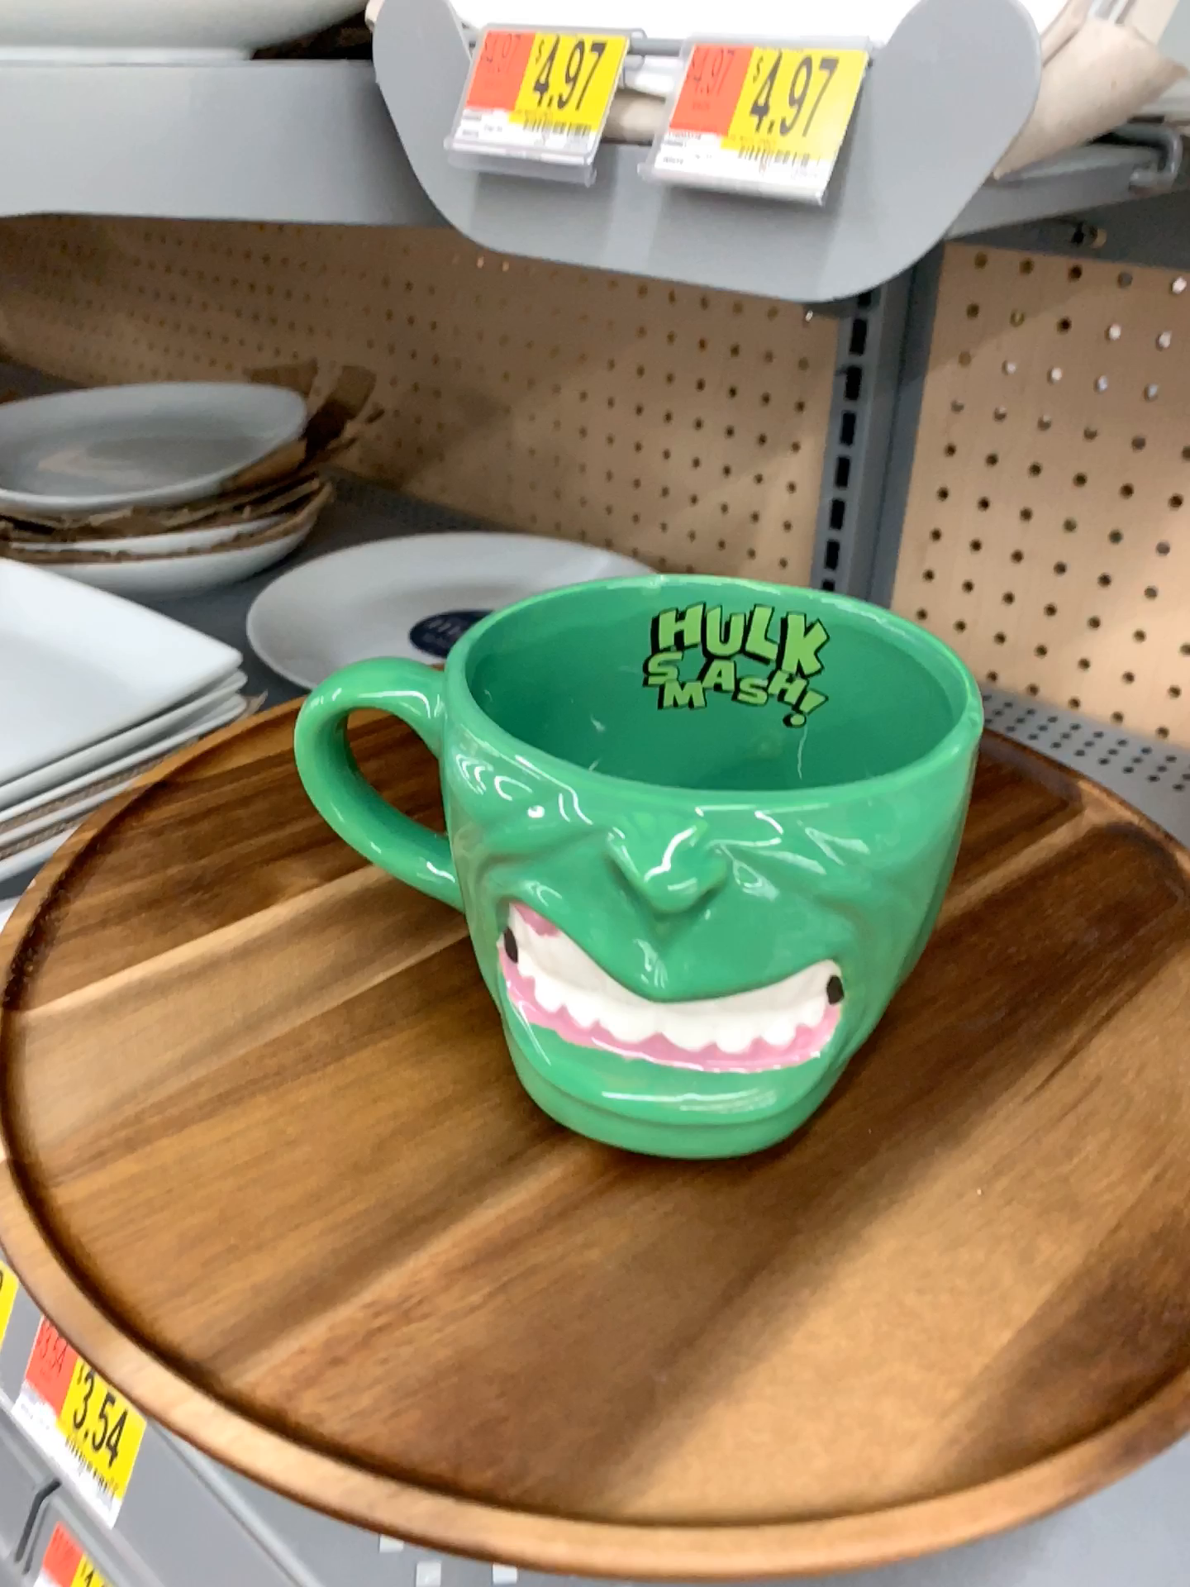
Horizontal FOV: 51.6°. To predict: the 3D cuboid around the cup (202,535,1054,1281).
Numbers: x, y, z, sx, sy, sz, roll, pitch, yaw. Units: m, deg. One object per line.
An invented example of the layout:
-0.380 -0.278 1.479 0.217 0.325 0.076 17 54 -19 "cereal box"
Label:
0.013 0.013 0.277 0.140 0.090 0.131 1 31 -1 "cup"
